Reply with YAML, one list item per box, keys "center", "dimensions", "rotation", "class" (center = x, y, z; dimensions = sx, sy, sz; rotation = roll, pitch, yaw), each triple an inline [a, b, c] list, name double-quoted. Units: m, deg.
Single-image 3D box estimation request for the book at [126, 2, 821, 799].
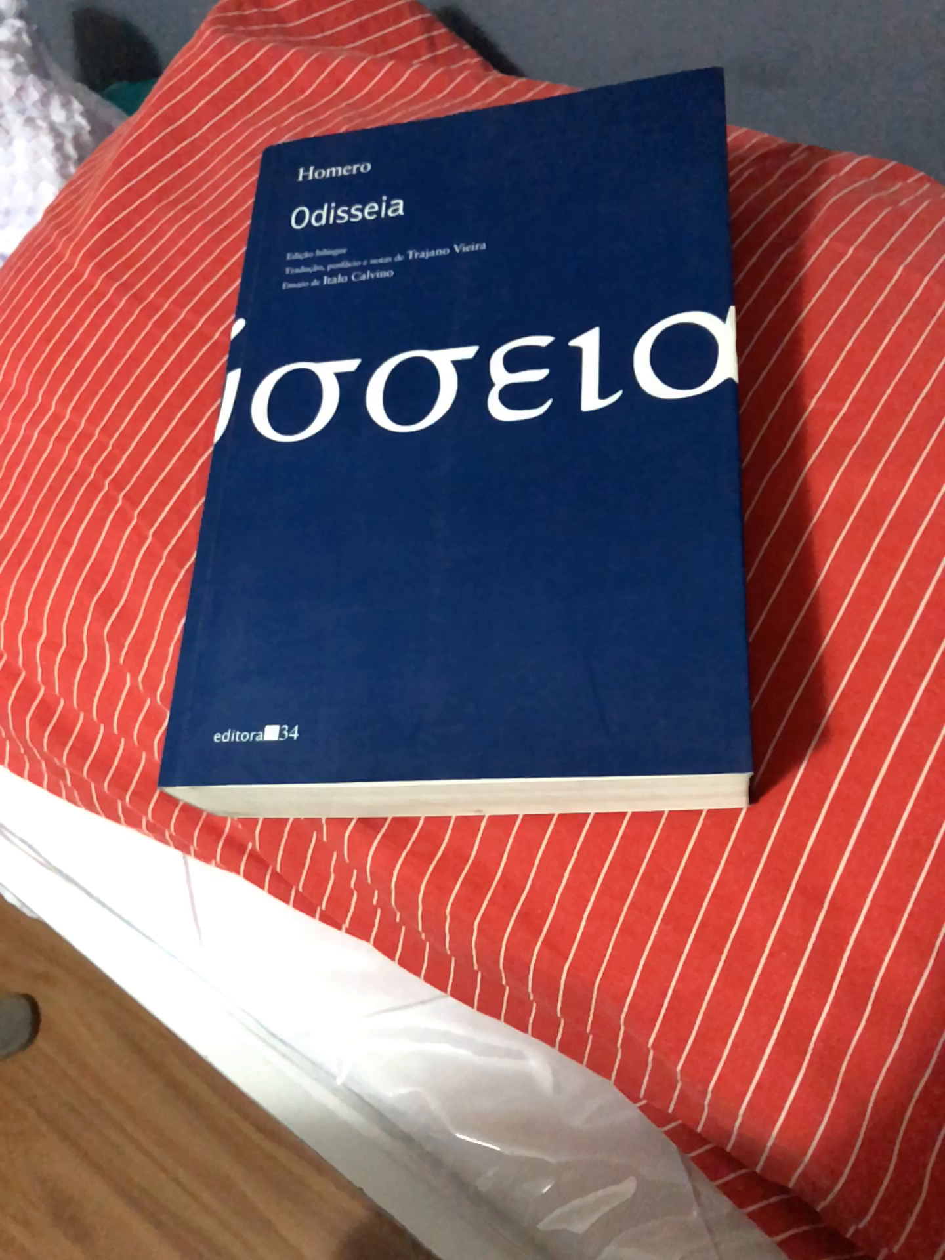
- center: [0.005, -0.069, 0.309]
  dimensions: [0.170, 0.040, 0.231]
  rotation: [-3, 66, 16]
  class: "book"
